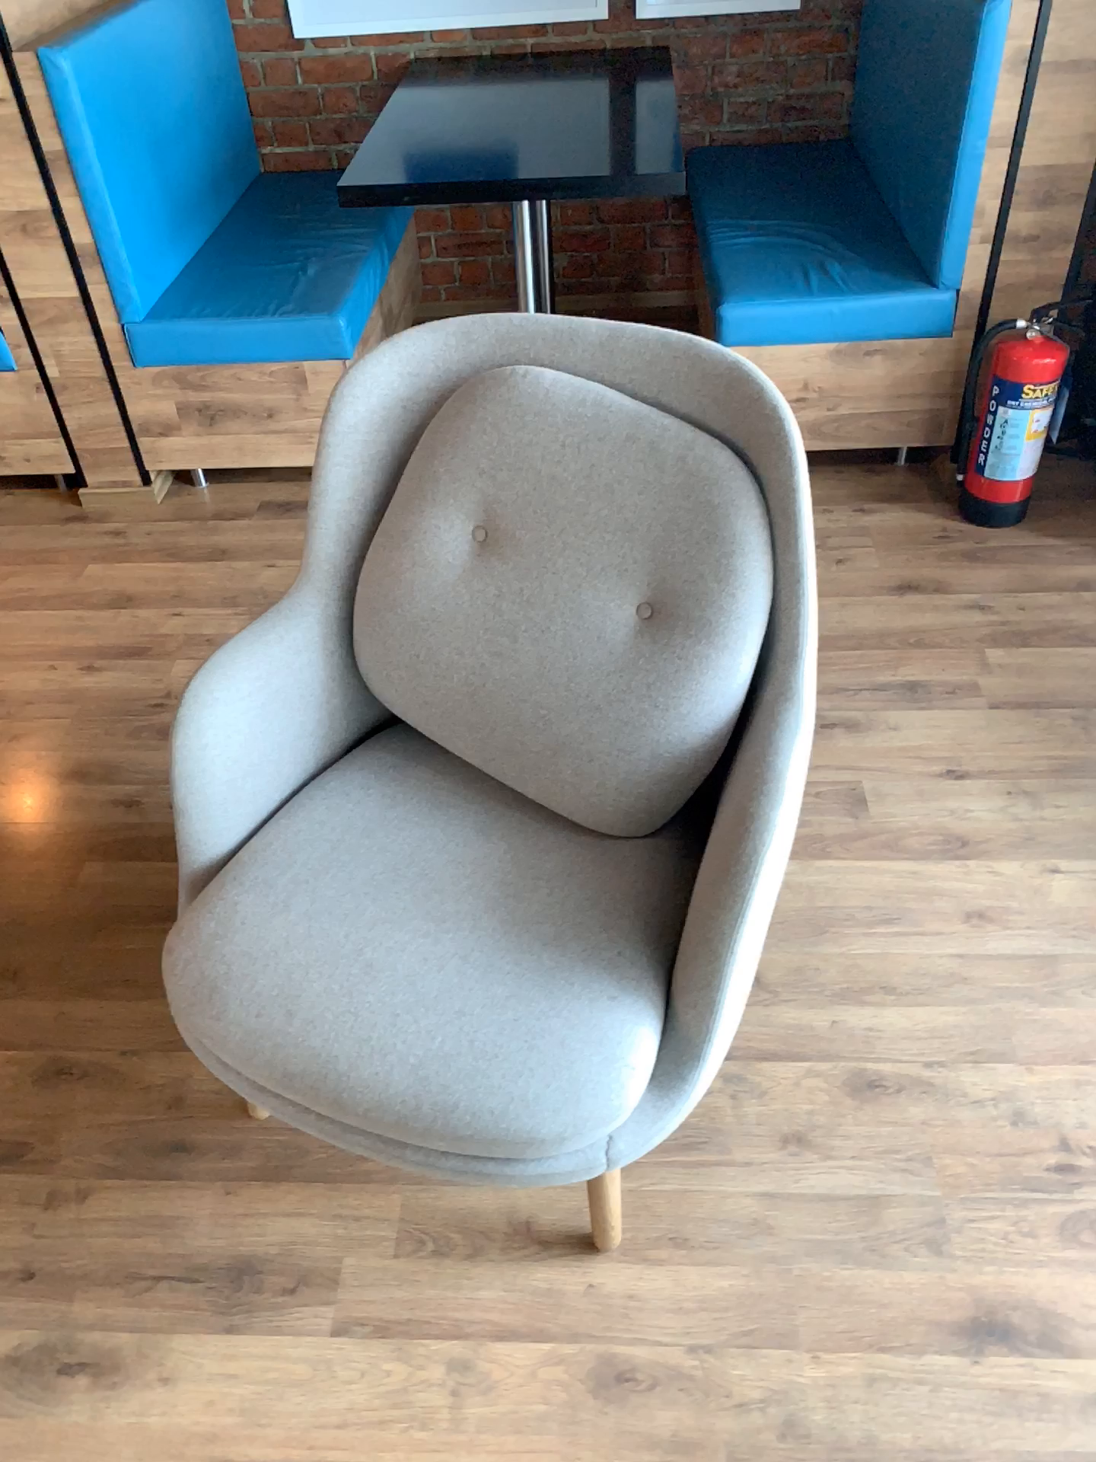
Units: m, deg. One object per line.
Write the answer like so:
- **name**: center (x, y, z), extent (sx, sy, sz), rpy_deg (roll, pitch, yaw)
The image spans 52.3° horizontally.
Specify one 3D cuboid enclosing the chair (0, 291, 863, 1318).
- **chair**: center (-0.096, 0.047, 1.344), extent (0.751, 0.833, 0.745), rpy_deg (9, 43, 15)
